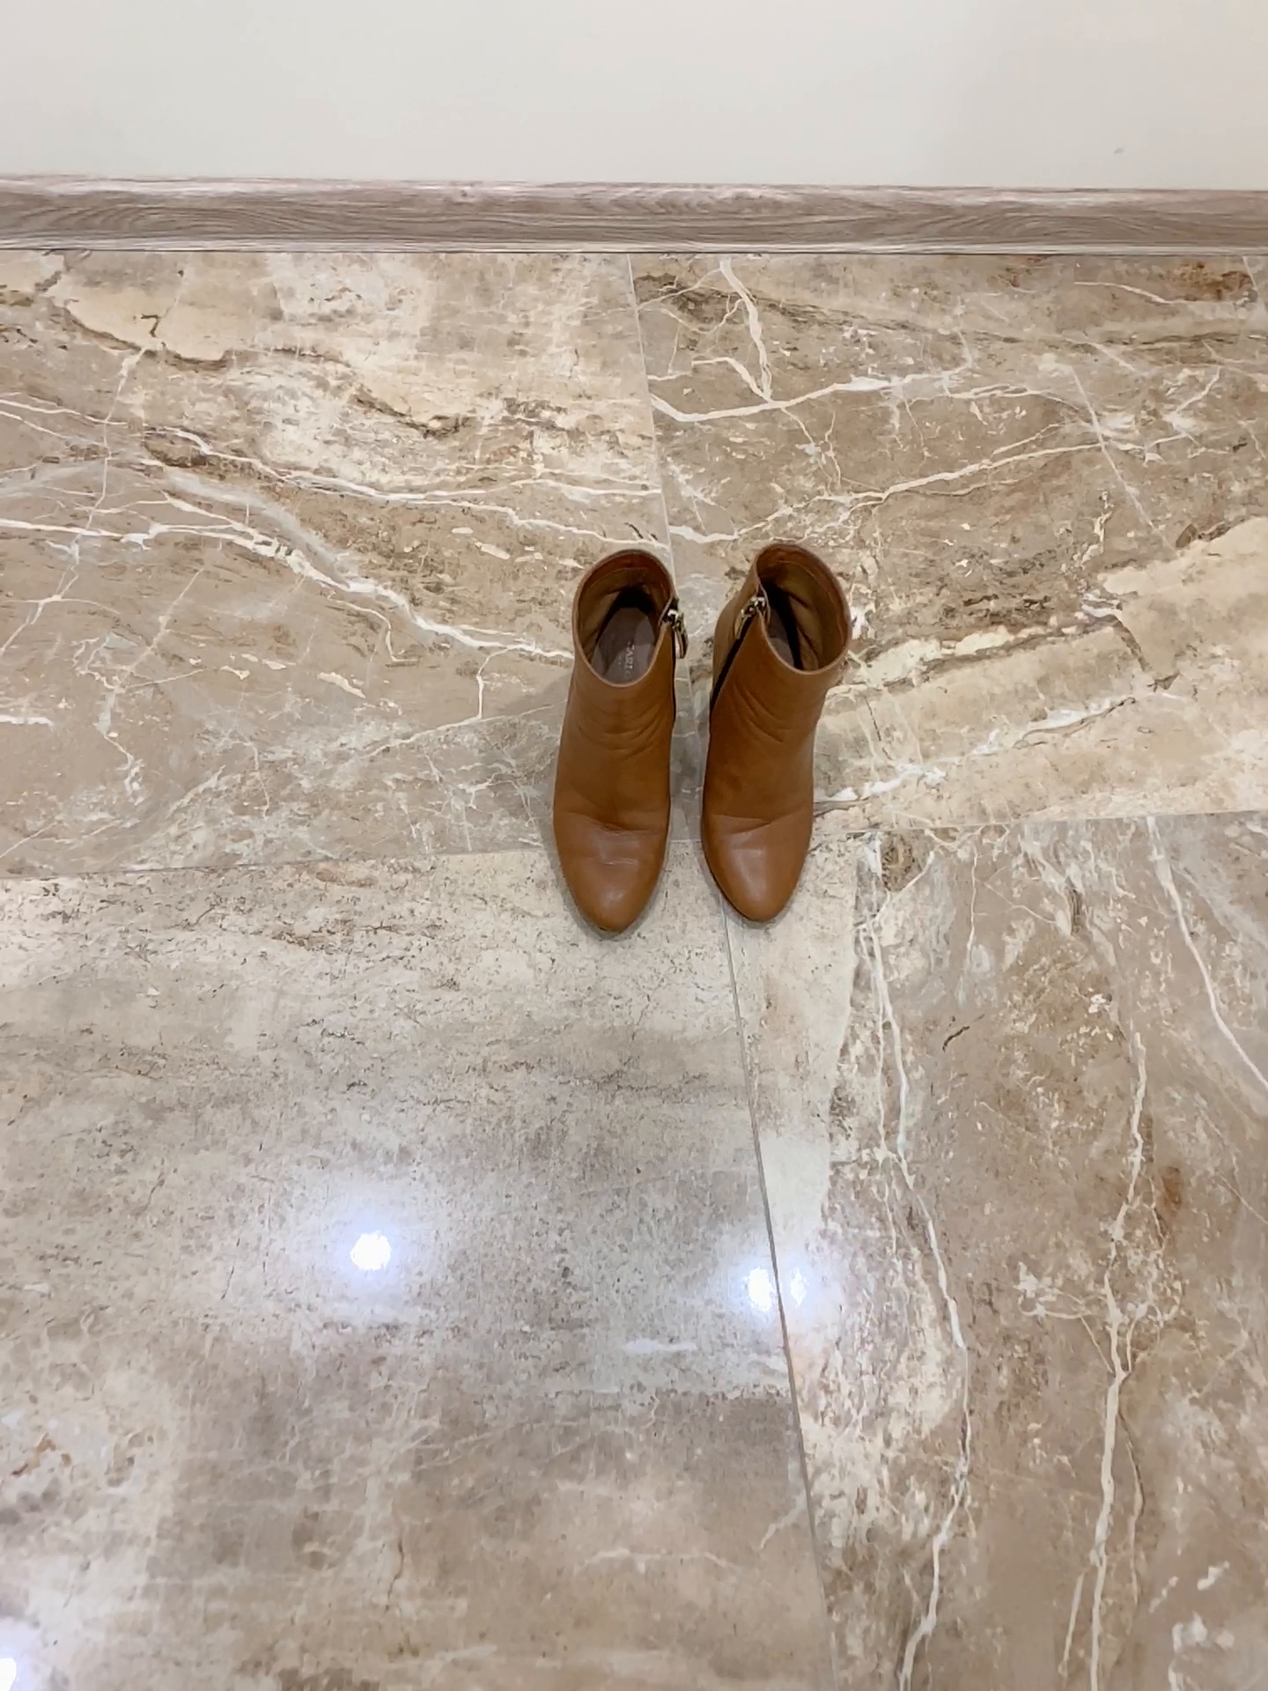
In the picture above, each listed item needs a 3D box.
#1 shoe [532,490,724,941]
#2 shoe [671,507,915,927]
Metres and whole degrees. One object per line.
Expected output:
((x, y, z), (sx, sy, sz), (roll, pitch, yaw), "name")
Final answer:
((-0.006, -0.078, 0.844), (0.090, 0.185, 0.221), (7, 64, -3), "shoe")
((0.093, -0.079, 0.847), (0.090, 0.175, 0.210), (-3, 65, -8), "shoe")
